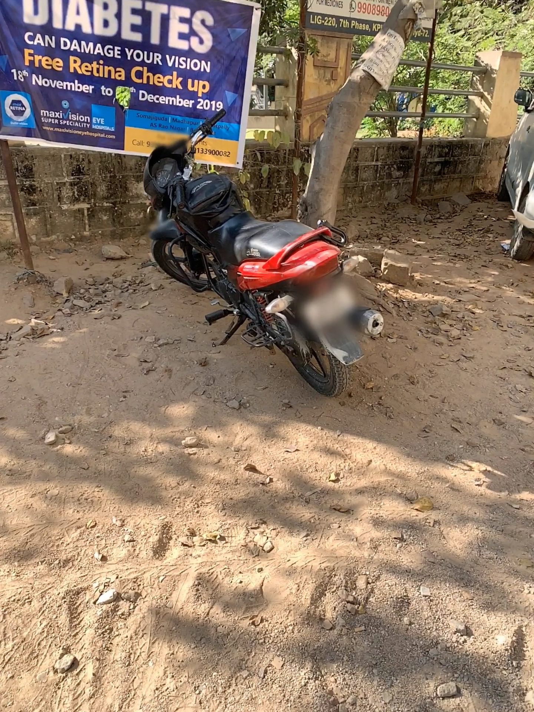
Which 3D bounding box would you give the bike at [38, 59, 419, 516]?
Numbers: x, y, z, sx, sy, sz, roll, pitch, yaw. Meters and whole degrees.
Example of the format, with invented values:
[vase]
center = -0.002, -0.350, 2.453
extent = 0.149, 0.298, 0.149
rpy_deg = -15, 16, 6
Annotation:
[bike]
center = -0.292, -0.474, 2.569
extent = 0.753, 1.442, 1.620
rpy_deg = -17, 34, -35
